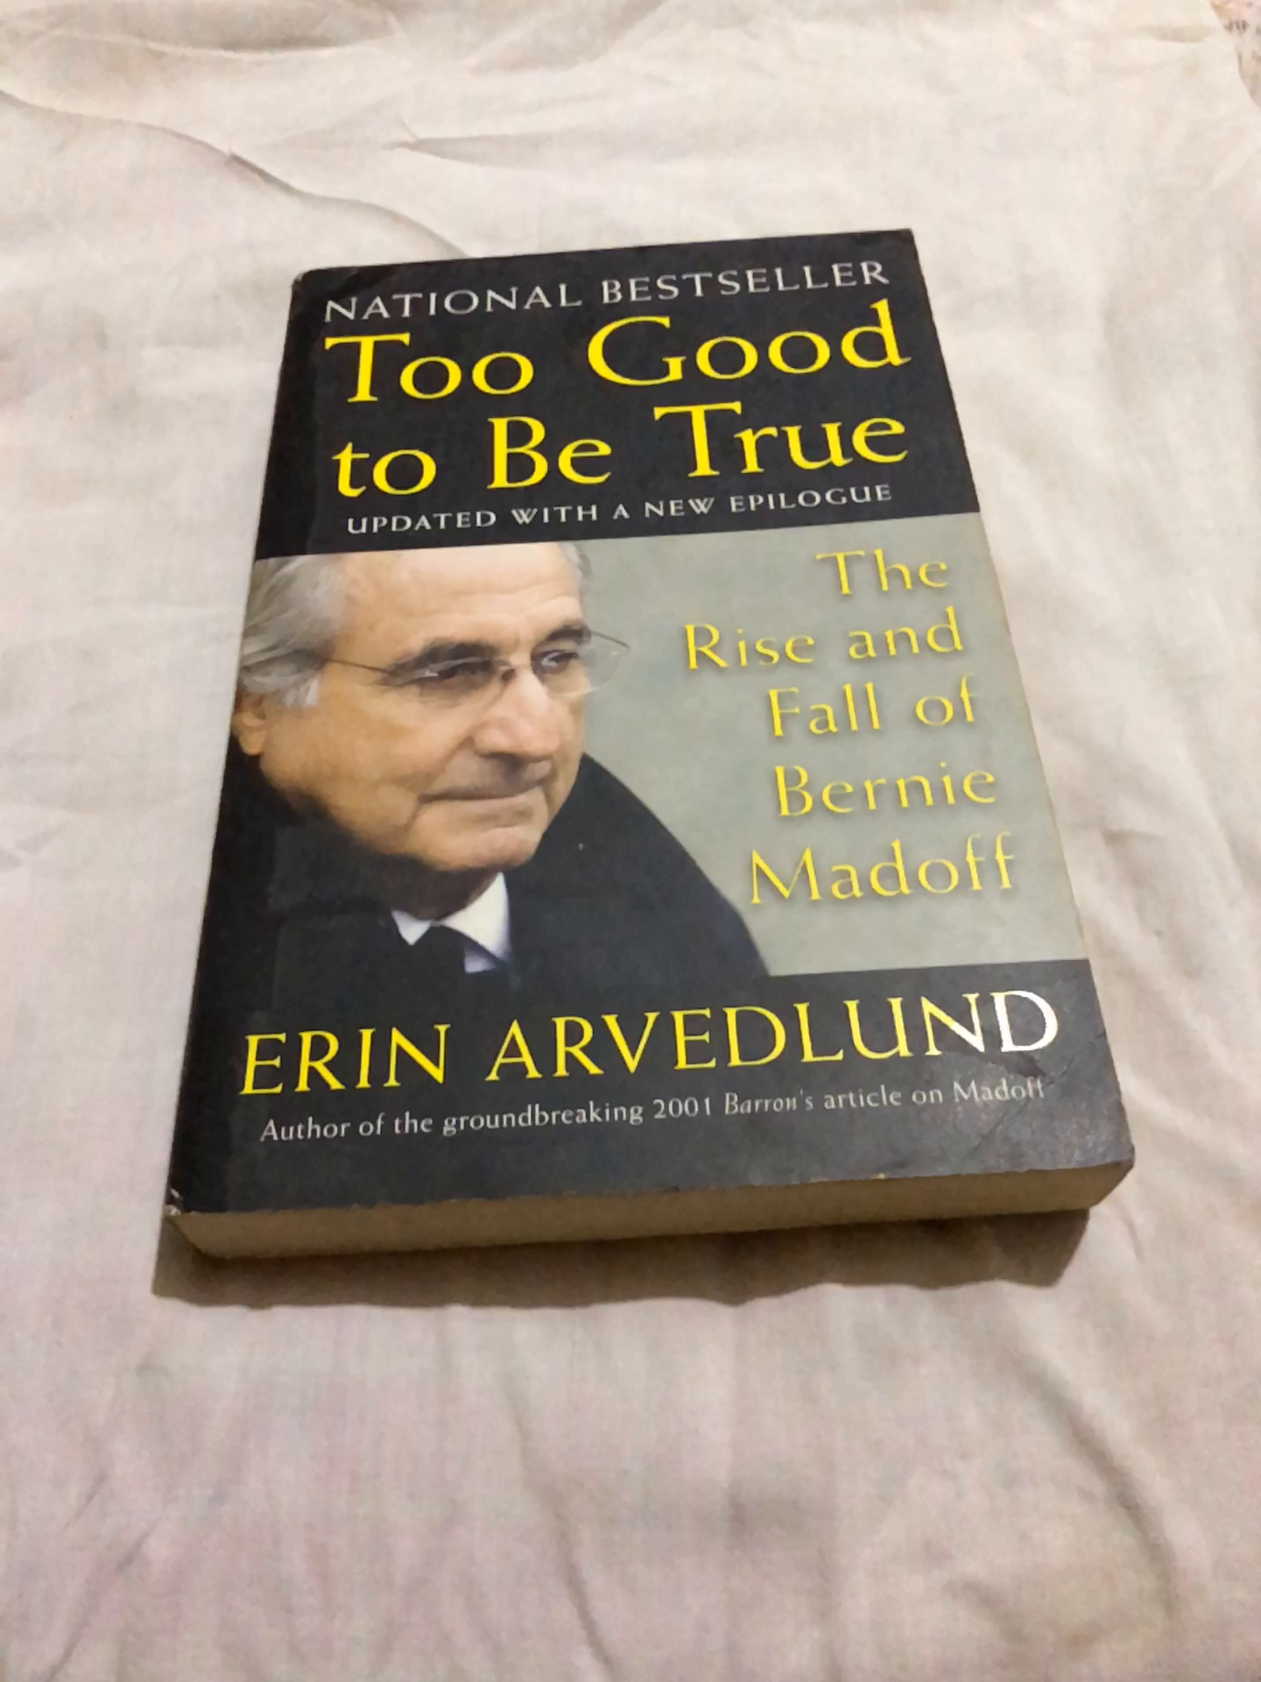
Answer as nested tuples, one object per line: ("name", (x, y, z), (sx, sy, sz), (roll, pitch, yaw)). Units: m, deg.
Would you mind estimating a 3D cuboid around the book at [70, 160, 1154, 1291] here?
("book", (-0.008, -0.040, 0.268), (0.150, 0.030, 0.230), (-4, 58, 2))
